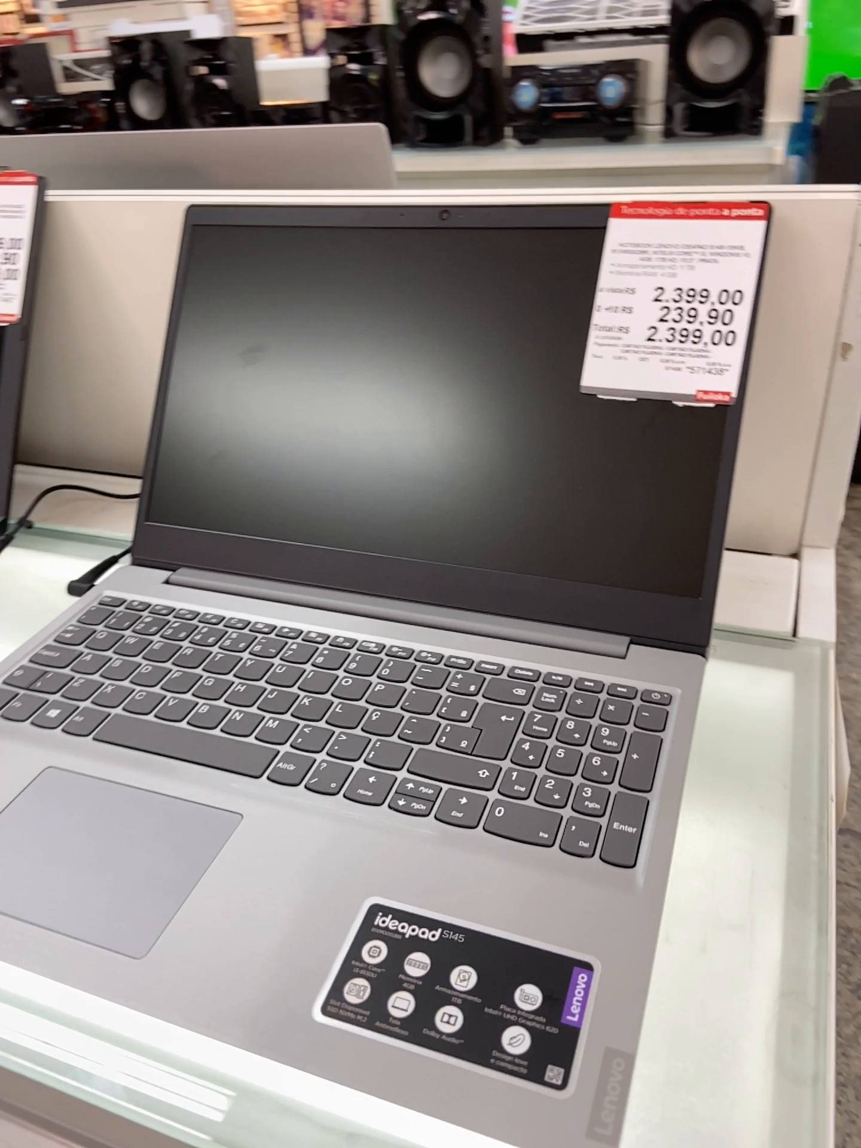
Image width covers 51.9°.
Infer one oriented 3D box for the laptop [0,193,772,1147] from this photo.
[{"bbox_3d":[-0.055,-0.037,0.427,0.369,0.192,0.404,8,35,20],"label":"laptop"}]
